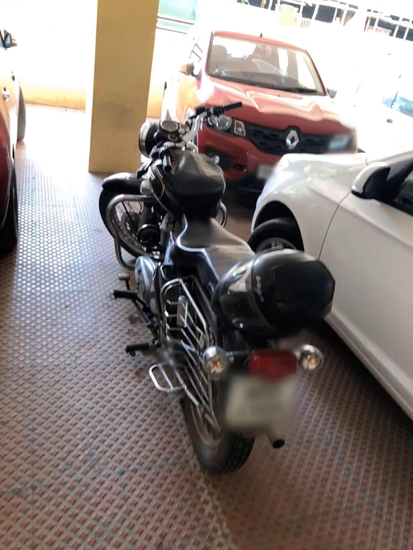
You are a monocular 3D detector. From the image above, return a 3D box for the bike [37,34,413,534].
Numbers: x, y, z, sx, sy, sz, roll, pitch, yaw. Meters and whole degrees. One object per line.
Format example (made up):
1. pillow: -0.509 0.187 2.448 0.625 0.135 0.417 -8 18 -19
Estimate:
1. bike: -0.231 -0.149 1.999 0.692 1.218 1.790 -4 36 -26
